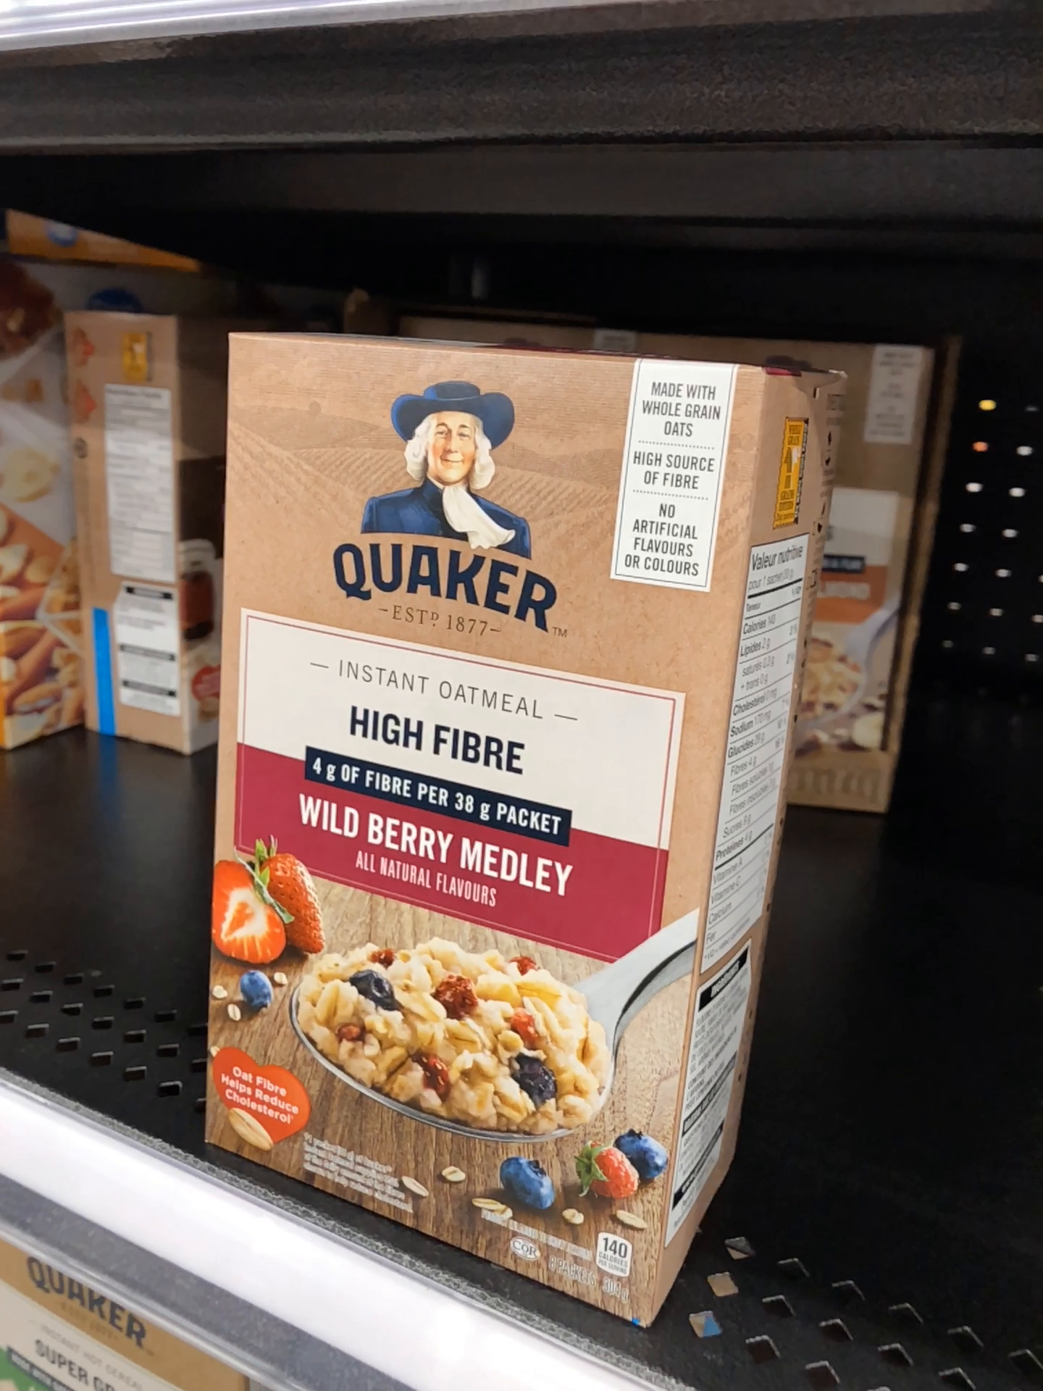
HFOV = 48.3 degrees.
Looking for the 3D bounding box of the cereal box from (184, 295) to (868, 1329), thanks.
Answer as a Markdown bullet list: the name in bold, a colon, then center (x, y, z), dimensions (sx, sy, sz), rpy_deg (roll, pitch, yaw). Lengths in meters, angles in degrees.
- **cereal box**: center (-0.006, 0.017, 0.271), dimensions (0.130, 0.199, 0.060), rpy_deg (11, 15, 24)
